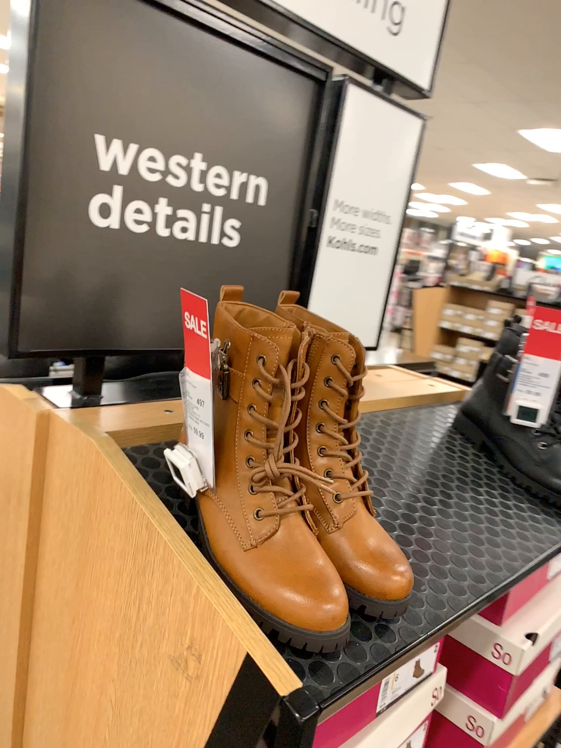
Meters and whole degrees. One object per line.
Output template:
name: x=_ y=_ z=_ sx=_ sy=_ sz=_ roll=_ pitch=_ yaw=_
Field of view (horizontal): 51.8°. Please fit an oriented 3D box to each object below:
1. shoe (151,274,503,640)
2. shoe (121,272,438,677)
shoe: x=0.021 y=0.048 z=0.543 sx=0.286 sy=0.229 sz=0.110 roll=21 pitch=16 yaw=39
shoe: x=-0.029 y=0.053 z=0.493 sx=0.090 sy=0.229 sz=0.276 roll=0 pitch=16 yaw=-37
